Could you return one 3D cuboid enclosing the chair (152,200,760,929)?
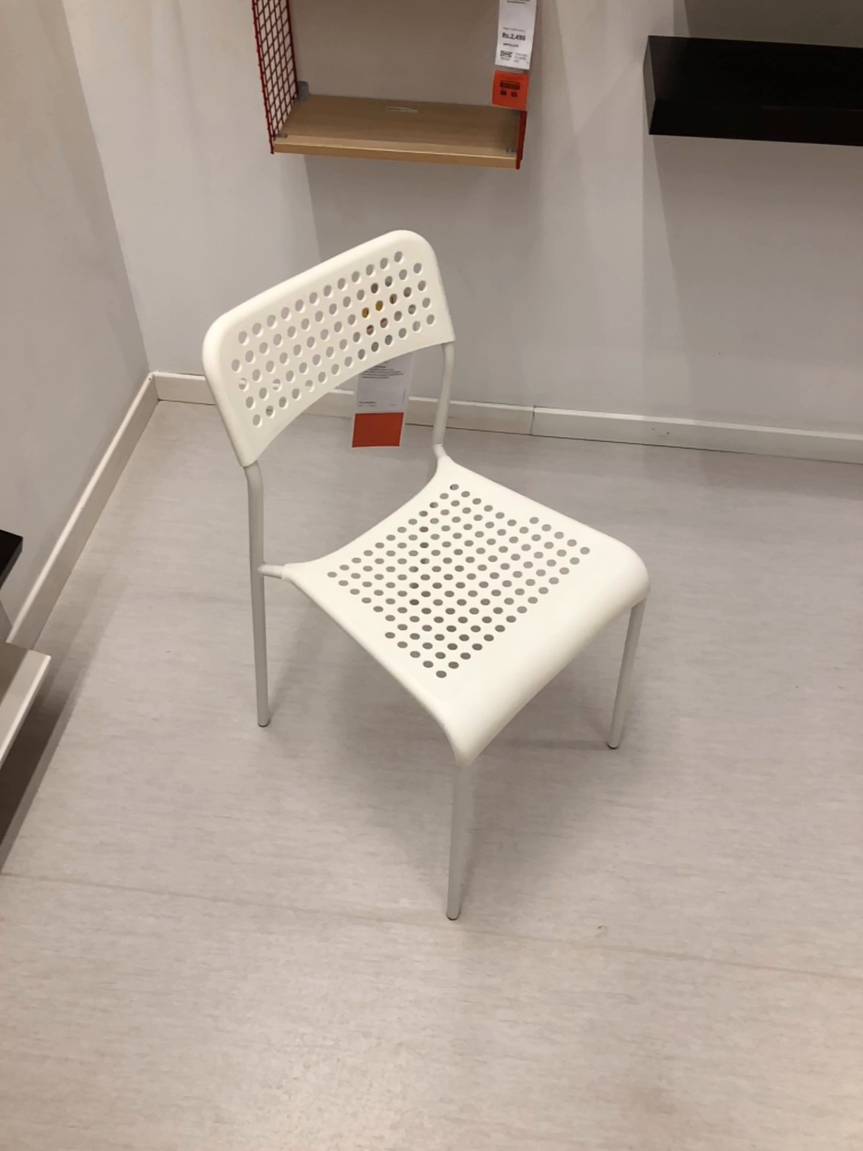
[{"bbox_3d":[0.017,0.007,1.251,0.471,0.735,0.421,36,56,27],"label":"chair"}]
